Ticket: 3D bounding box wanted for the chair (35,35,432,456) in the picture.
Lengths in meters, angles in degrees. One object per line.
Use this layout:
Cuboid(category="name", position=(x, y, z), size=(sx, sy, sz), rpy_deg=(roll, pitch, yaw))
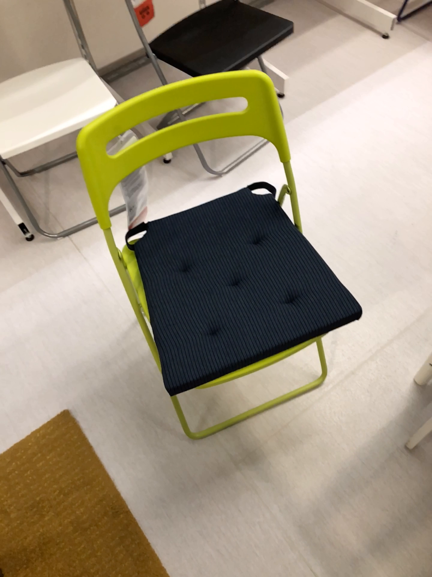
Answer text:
Cuboid(category="chair", position=(0.028, -0.039, 1.005), size=(0.490, 0.637, 0.462), rpy_deg=(-22, 59, -8))
